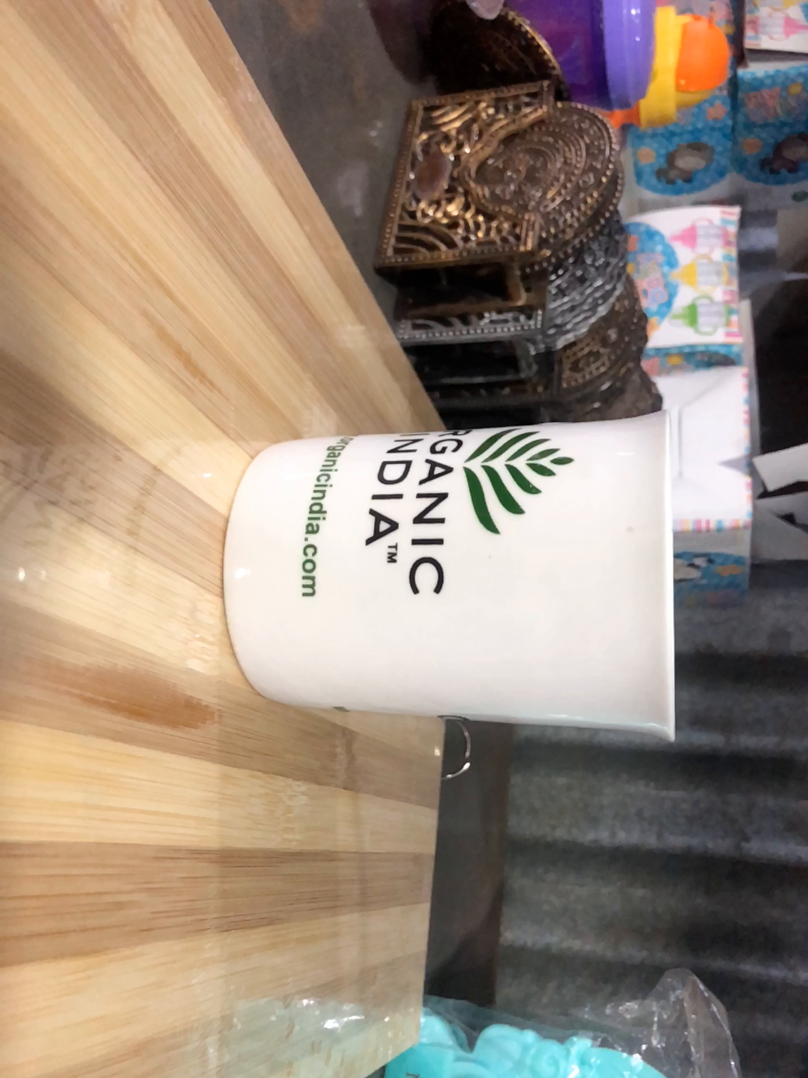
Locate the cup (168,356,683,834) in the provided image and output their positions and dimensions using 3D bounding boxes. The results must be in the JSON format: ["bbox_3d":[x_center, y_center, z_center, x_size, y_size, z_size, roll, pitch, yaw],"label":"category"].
[{"bbox_3d":[0.018,0.011,0.245,0.100,0.109,0.070,-73,158,-44],"label":"cup"}]
